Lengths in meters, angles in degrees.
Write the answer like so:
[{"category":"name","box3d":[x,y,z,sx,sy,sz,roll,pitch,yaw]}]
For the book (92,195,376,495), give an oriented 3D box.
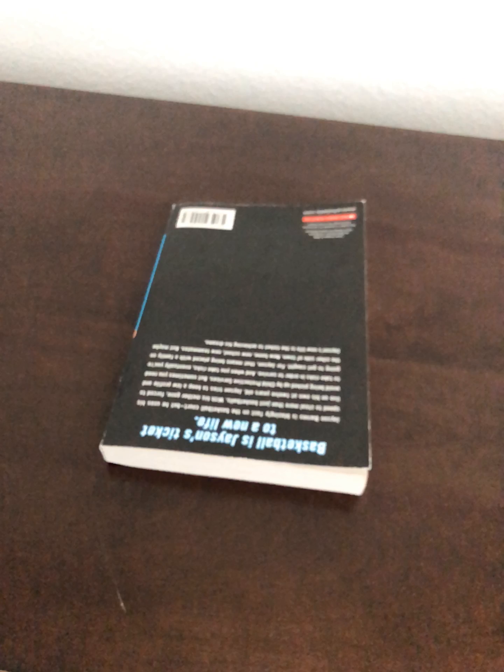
[{"category":"book","box3d":[0.001,-0.009,0.353,0.140,0.036,0.199,4,51,5]}]
